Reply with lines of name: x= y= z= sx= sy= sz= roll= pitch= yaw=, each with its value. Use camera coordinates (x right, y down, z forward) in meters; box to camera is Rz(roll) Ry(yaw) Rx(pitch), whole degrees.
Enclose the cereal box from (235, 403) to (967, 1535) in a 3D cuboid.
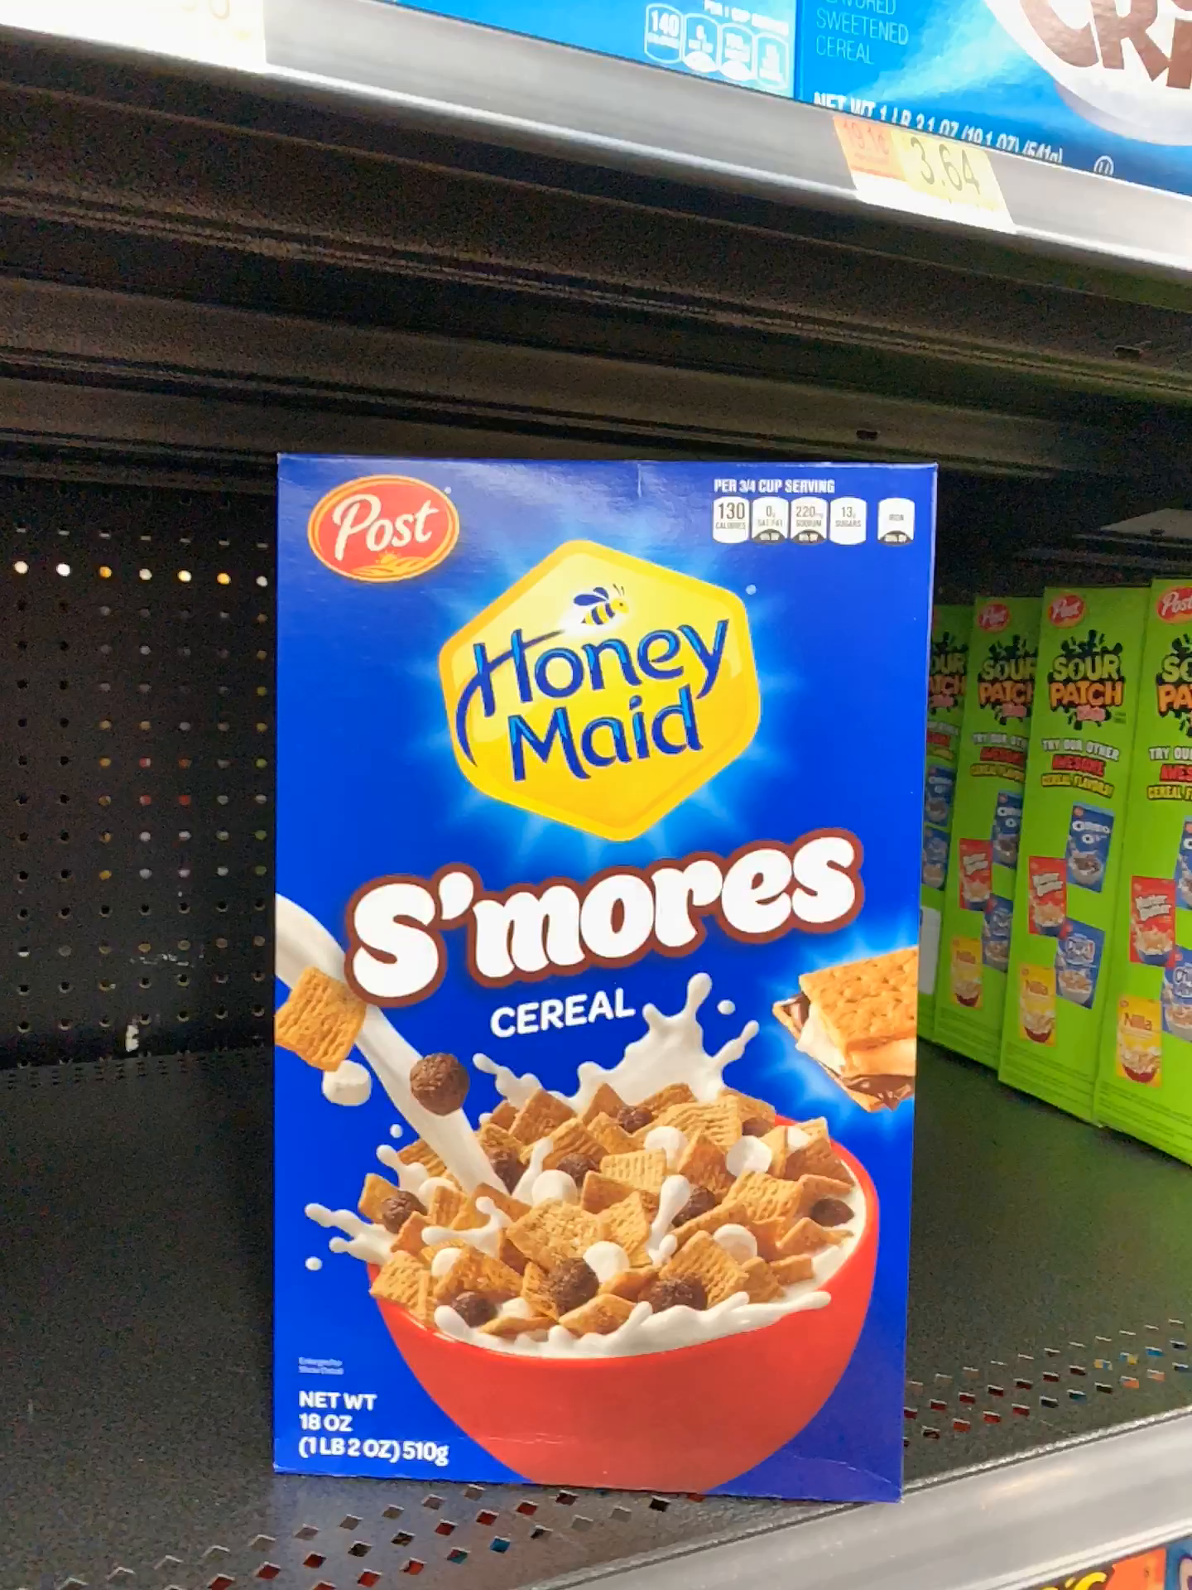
cereal box: x=-0.001 y=0.050 z=0.388 sx=0.200 sy=0.320 sz=0.070 roll=2 pitch=3 yaw=2
